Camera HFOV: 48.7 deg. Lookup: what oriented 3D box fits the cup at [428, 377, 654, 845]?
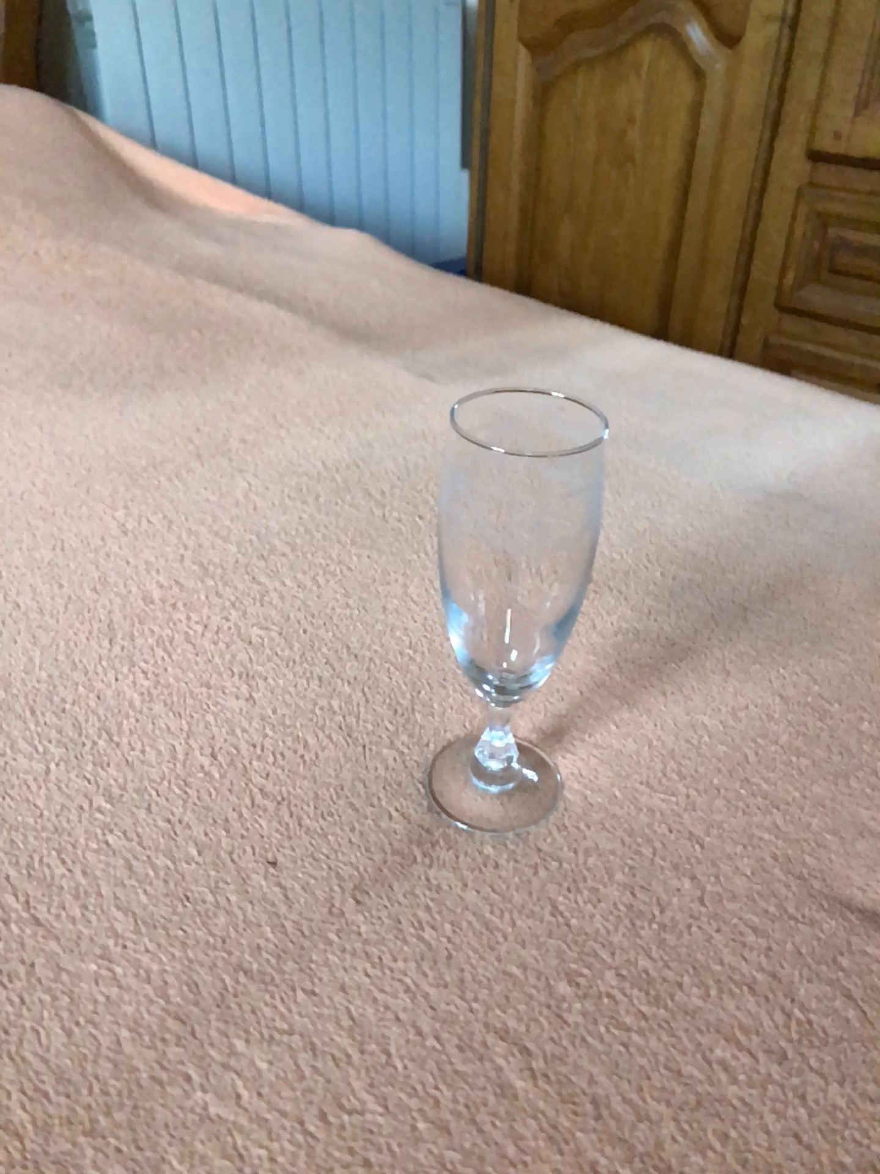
[{"bbox_3d":[0.029,0.012,0.350,0.060,0.159,0.060,1,31,-1],"label":"cup"}]
